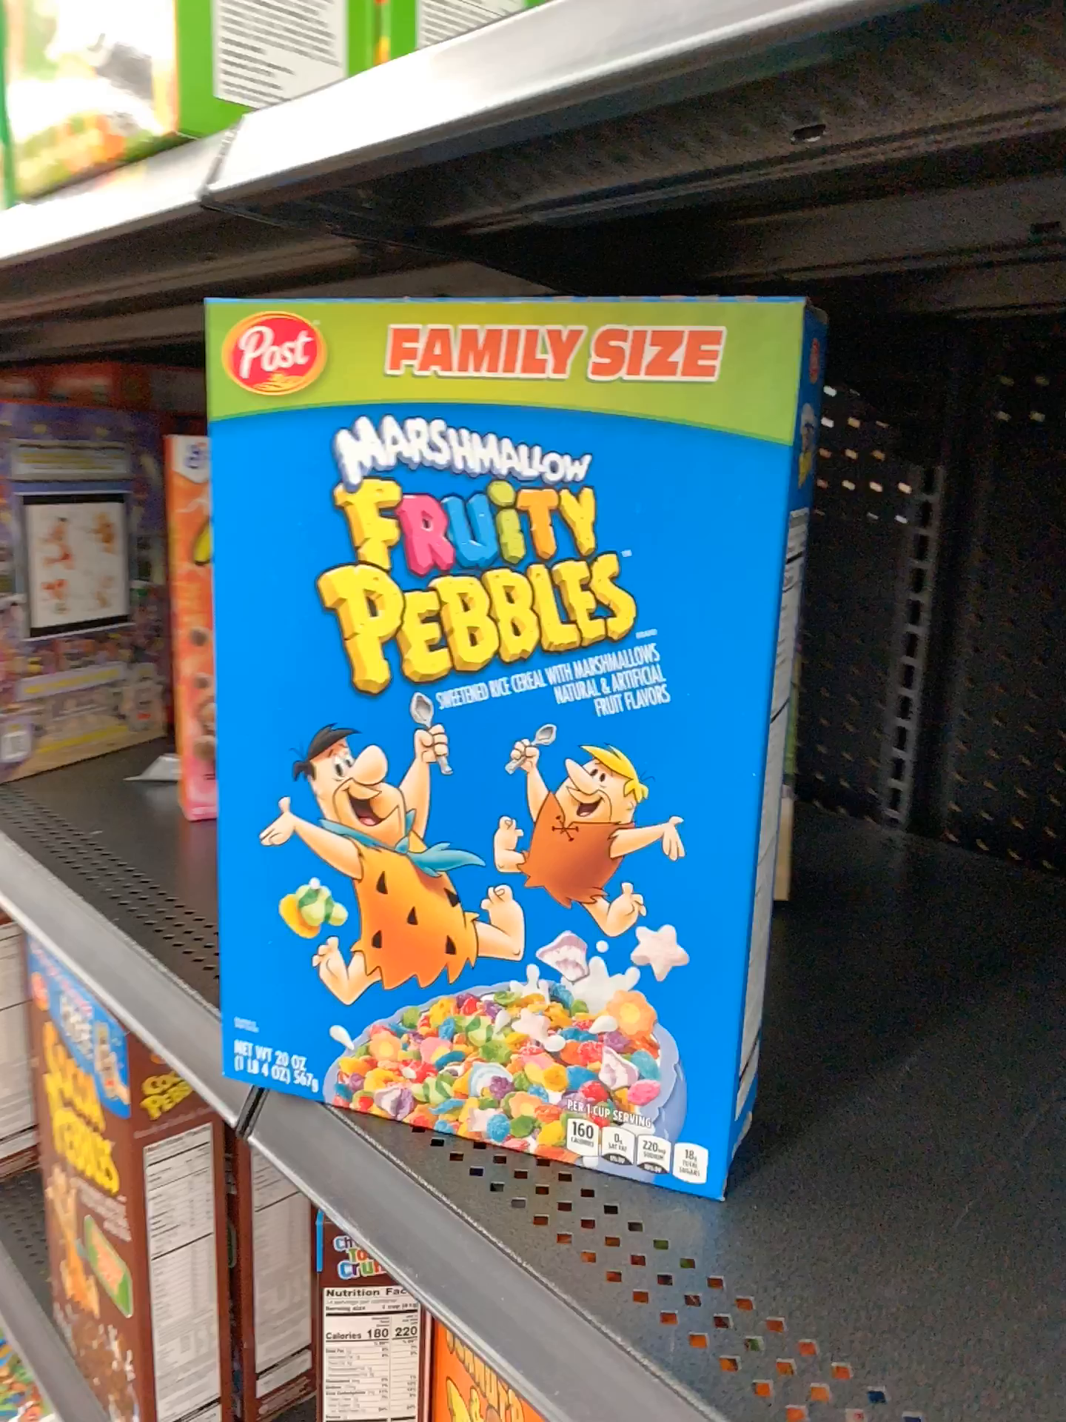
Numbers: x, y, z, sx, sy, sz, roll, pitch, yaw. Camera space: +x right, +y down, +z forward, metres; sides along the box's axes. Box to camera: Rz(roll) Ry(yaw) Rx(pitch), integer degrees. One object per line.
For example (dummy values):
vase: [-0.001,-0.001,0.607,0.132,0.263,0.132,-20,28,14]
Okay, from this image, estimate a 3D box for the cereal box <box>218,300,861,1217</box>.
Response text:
cereal box: [-0.005,0.012,0.447,0.230,0.329,0.070,7,14,17]
